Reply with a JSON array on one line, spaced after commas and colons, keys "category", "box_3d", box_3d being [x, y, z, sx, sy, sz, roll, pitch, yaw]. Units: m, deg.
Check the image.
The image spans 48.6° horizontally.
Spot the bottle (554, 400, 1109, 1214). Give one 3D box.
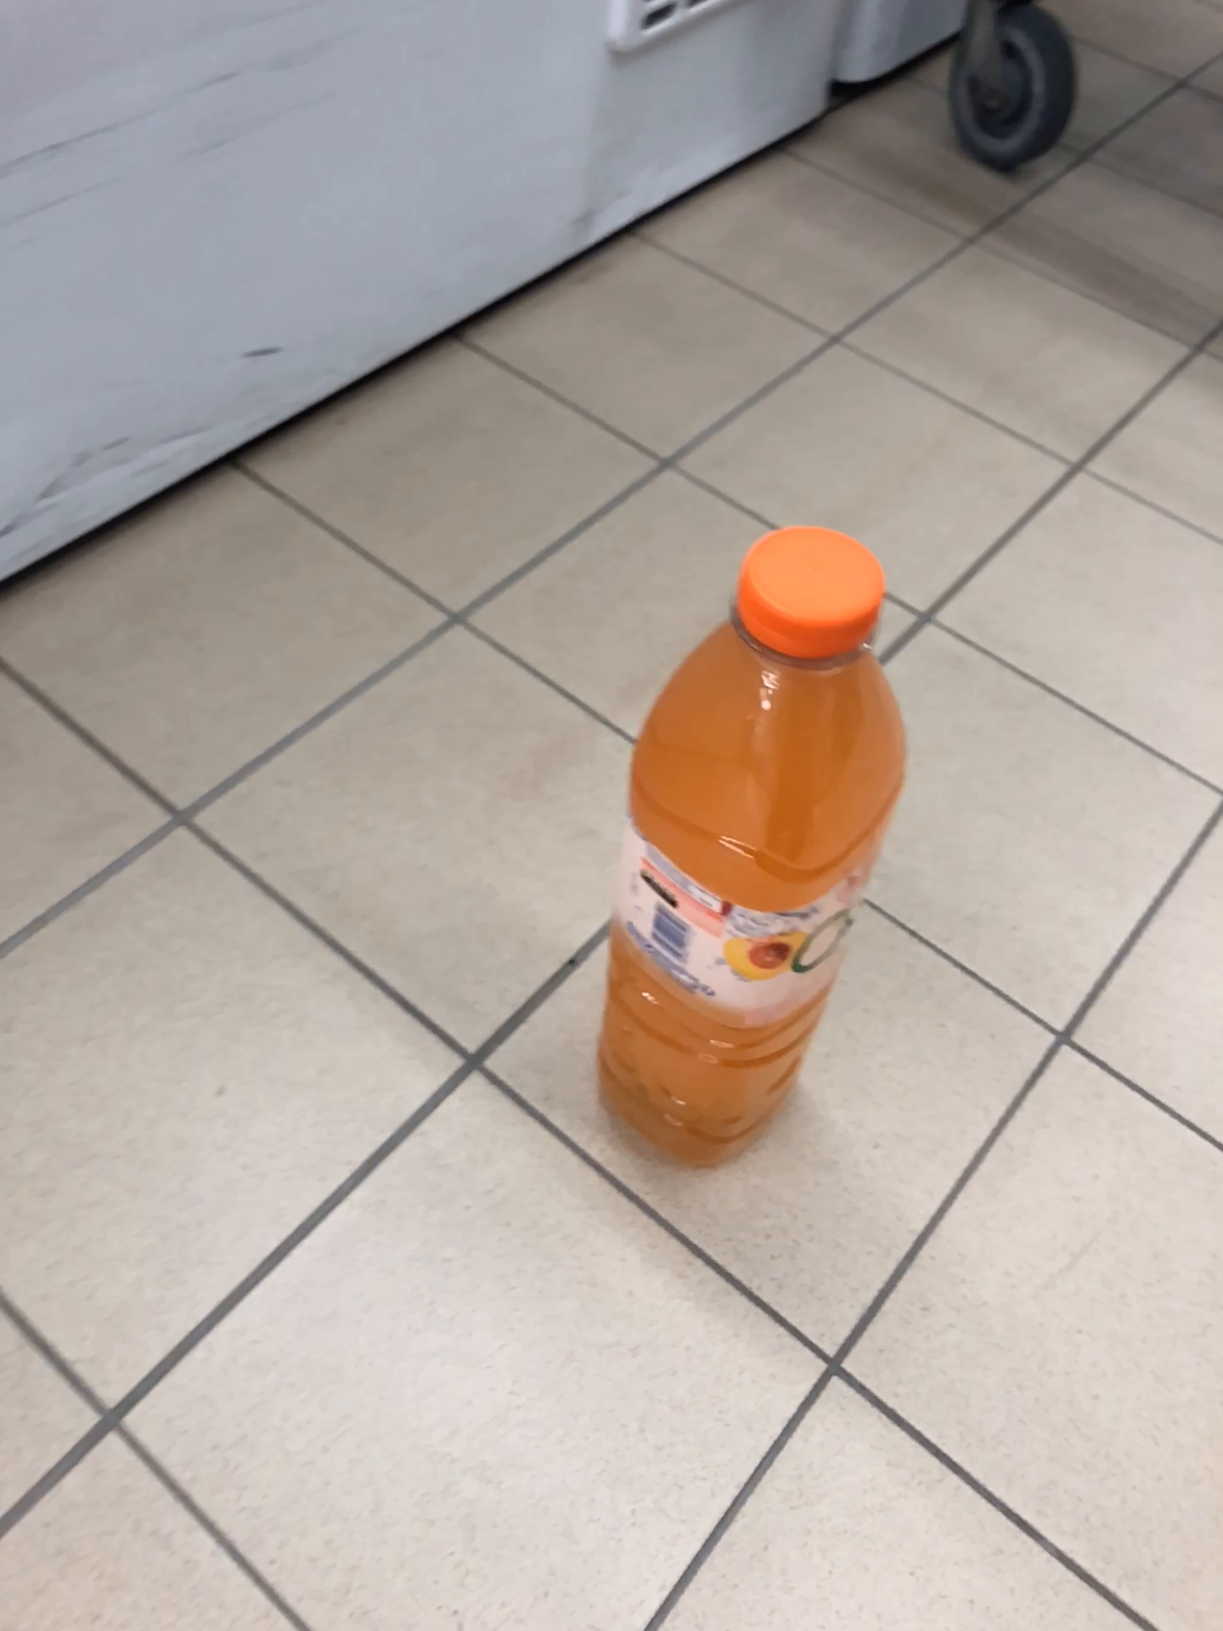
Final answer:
[{"category": "bottle", "box_3d": [0.058, 0.019, 0.491, 0.100, 0.298, 0.101, 3, 52, -4]}]
